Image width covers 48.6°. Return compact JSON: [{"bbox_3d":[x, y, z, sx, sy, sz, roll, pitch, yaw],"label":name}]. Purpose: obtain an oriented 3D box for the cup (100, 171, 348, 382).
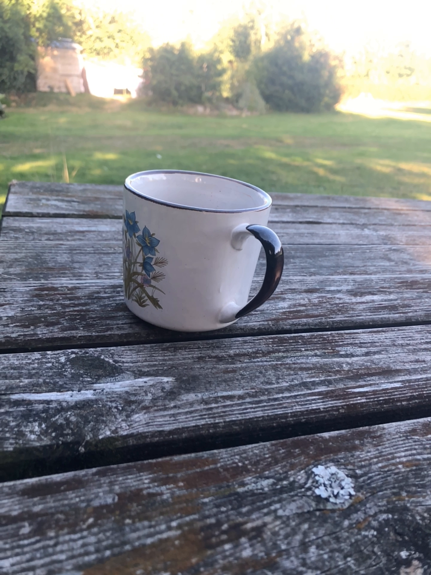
[{"bbox_3d":[-0.001,-0.017,0.279,0.087,0.078,0.108,-11,29,-39],"label":"cup"}]
